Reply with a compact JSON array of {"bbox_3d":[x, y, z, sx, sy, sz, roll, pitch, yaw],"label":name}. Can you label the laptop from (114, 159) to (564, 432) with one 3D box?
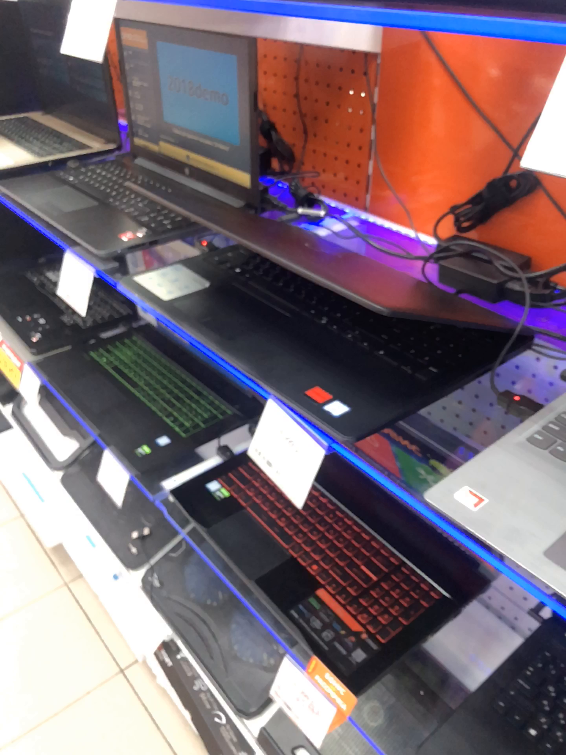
[{"bbox_3d":[0.032,-0.117,0.633,0.238,0.100,0.372,-23,39,-32],"label":"laptop"}]
